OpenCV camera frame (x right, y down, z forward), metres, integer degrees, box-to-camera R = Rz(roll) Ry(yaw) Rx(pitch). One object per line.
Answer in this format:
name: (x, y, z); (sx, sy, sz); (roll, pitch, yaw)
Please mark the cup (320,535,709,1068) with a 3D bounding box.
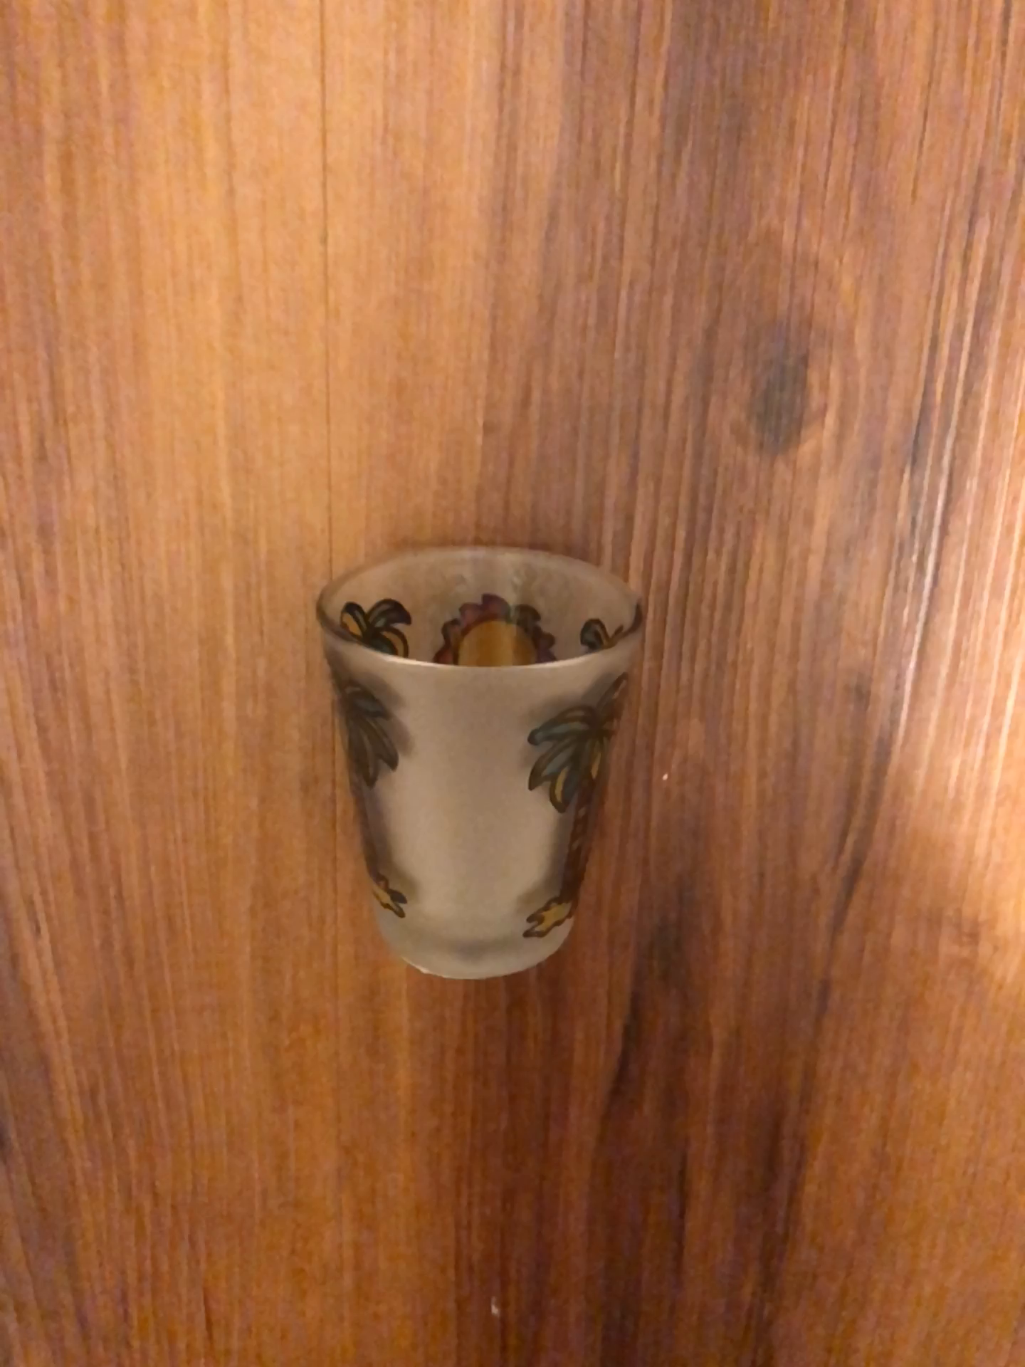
cup: (-0.001, 0.017, 0.181); (0.050, 0.045, 0.070); (1, 111, -2)
